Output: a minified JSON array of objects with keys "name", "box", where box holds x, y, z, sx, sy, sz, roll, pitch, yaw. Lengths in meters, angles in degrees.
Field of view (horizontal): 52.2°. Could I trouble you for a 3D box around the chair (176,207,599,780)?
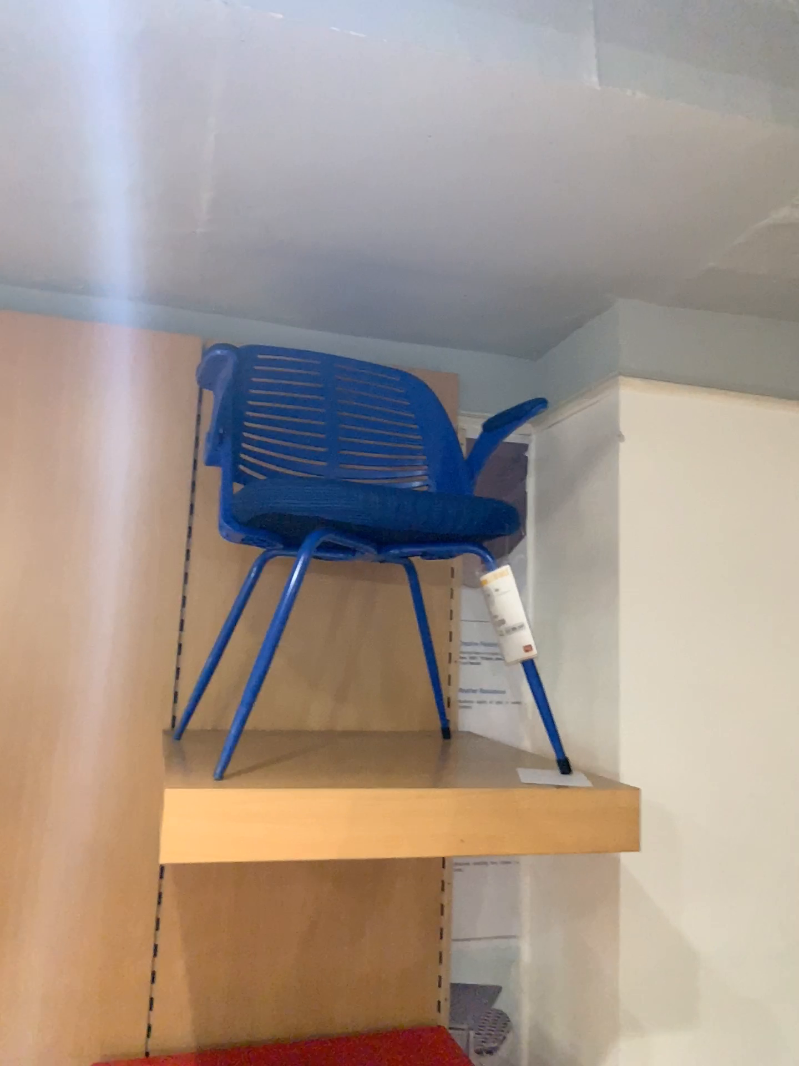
[{"name":"chair","box":[-0.048,-0.020,1.462,0.570,0.791,0.550,5,-8,-21]}]
